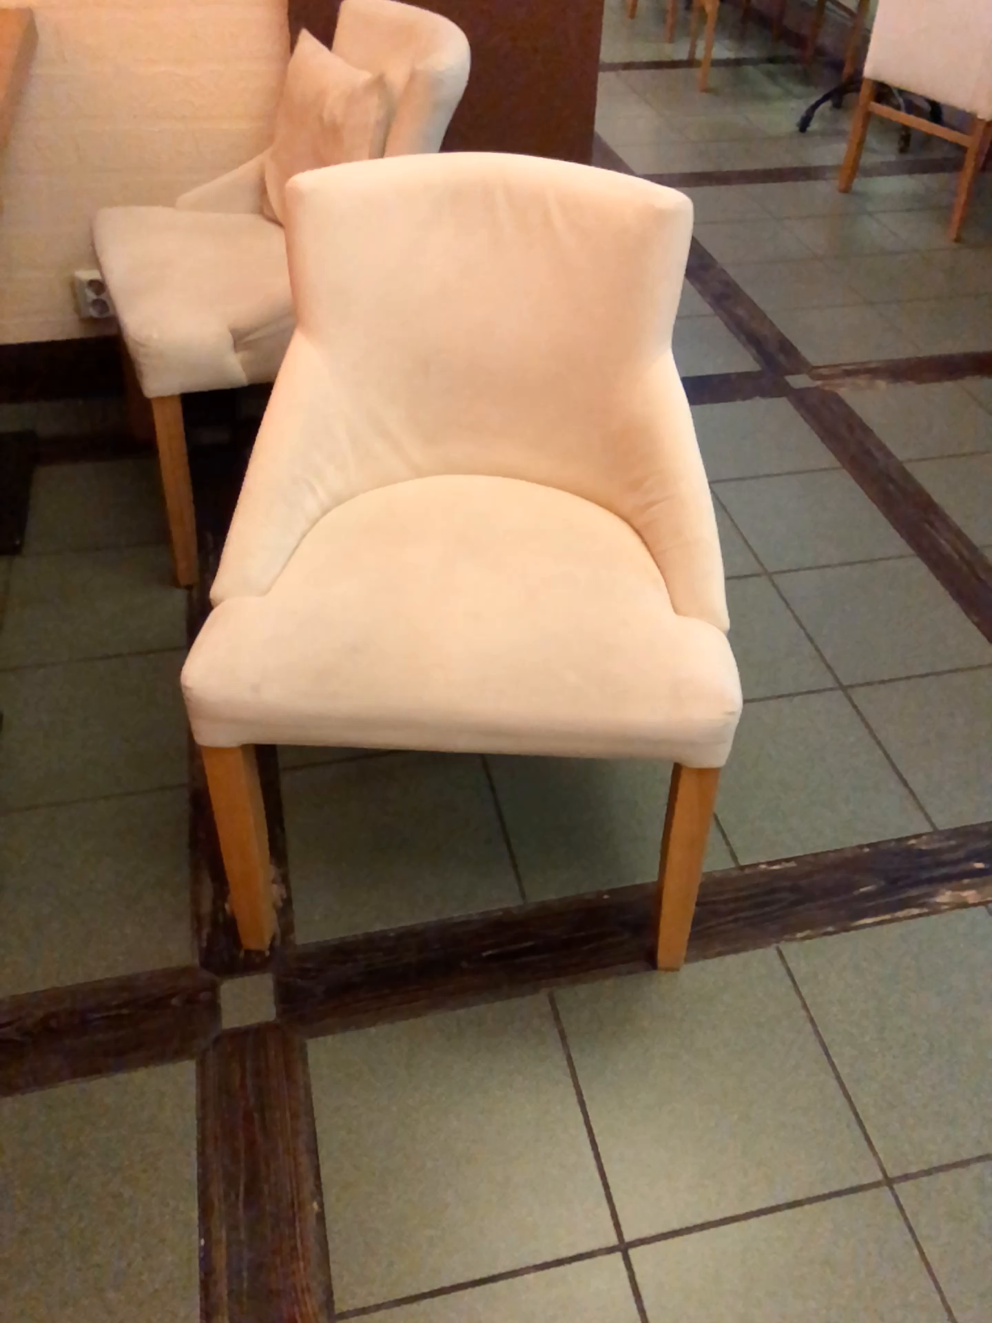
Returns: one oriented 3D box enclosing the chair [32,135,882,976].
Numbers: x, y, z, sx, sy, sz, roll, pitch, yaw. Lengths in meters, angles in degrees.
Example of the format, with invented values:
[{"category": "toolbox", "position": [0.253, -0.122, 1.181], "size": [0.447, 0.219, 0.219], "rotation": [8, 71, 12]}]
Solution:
[{"category": "chair", "position": [-0.034, -0.126, 1.297], "size": [0.630, 0.736, 0.664], "rotation": [1, 42, -1]}]
